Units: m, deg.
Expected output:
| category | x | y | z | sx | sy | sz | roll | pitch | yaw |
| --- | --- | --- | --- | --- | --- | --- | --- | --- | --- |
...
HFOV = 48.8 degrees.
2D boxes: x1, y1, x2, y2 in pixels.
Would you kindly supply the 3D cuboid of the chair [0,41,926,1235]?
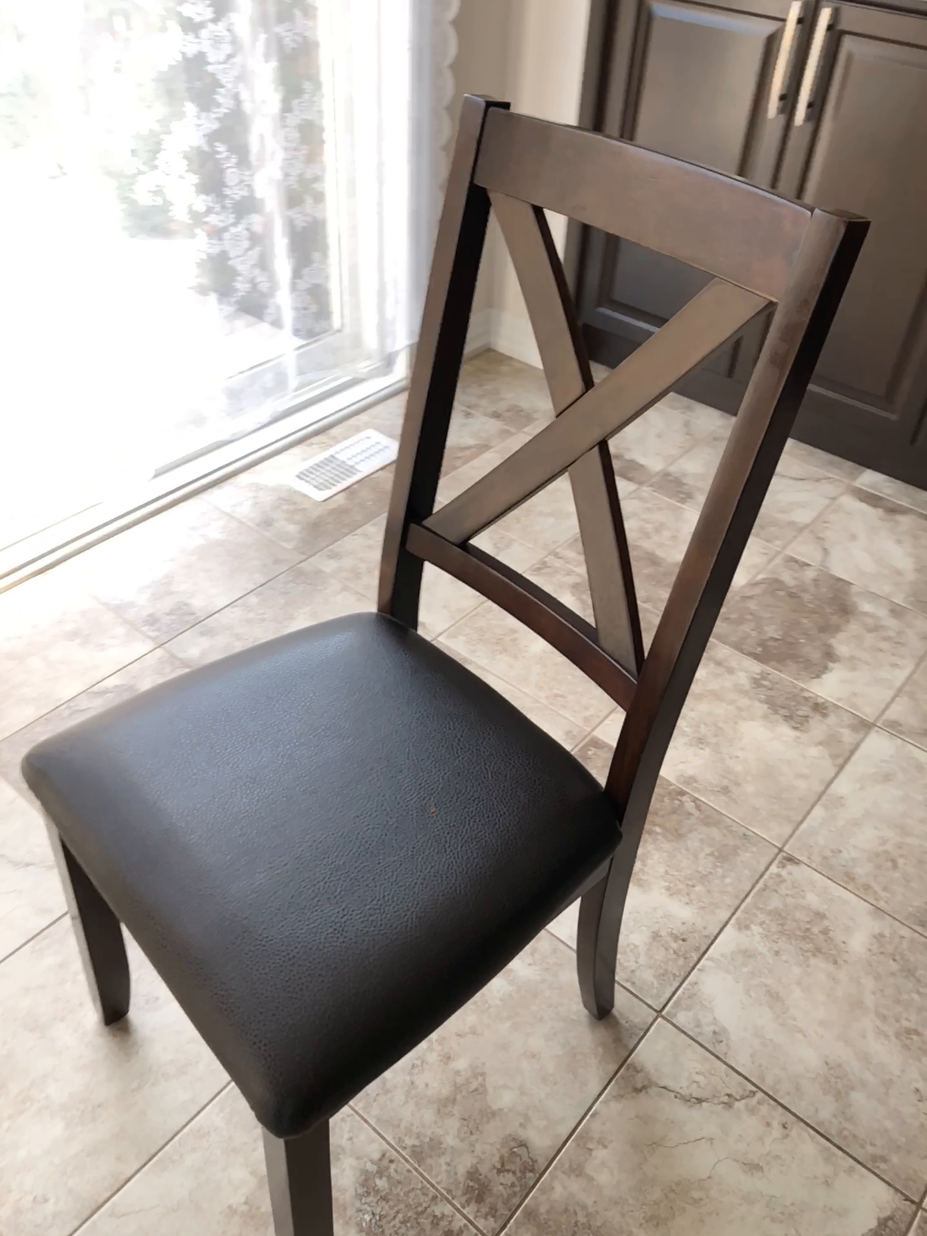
| category | x | y | z | sx | sy | sz | roll | pitch | yaw |
| --- | --- | --- | --- | --- | --- | --- | --- | --- | --- |
| chair | -0.054 | 0.082 | 0.925 | 0.601 | 0.936 | 0.481 | -28 | 49 | -32 |
